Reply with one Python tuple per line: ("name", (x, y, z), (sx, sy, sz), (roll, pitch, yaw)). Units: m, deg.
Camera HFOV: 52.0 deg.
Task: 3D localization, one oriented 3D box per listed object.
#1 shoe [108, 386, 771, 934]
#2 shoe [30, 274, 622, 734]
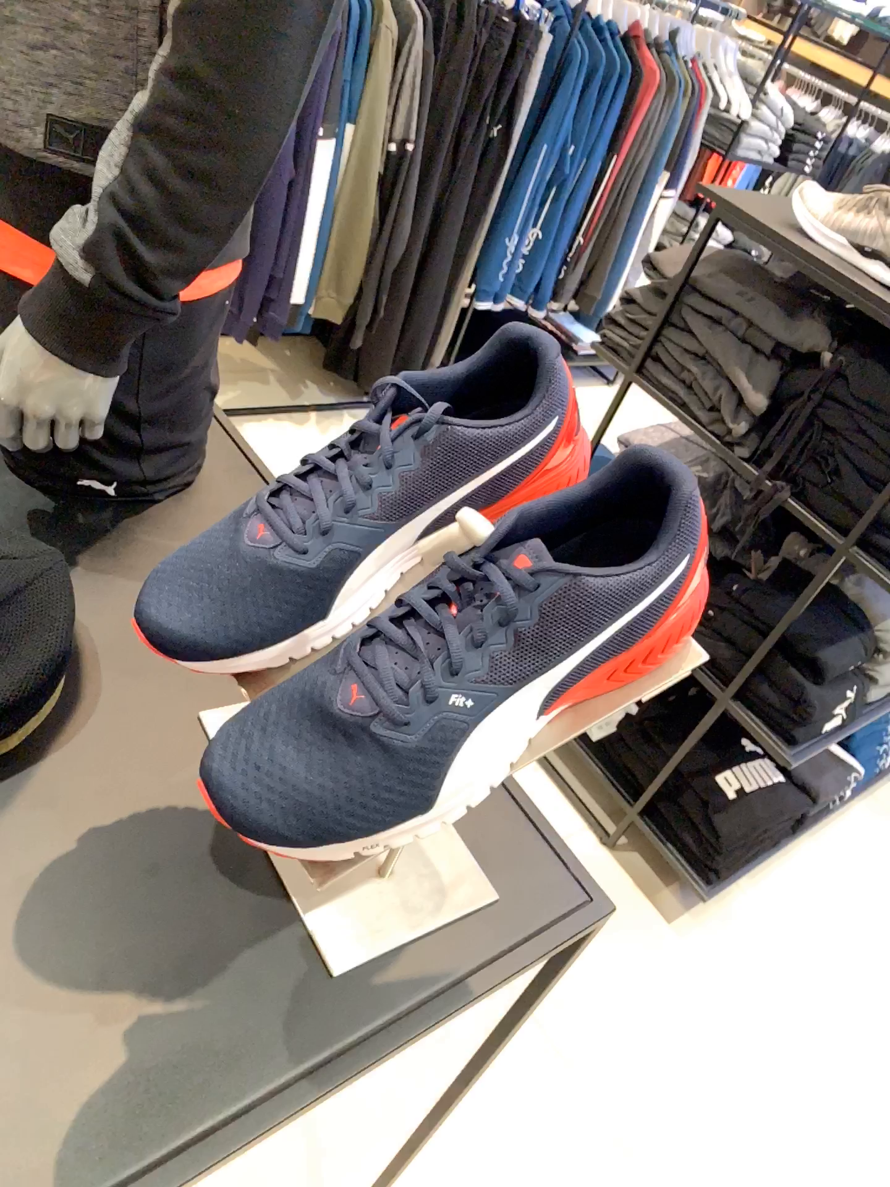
("shoe", (0.005, 0.023, 0.415), (0.261, 0.099, 0.100), (-29, 58, -17))
("shoe", (-0.048, -0.051, 0.444), (0.251, 0.079, 0.100), (-29, 58, -17))
